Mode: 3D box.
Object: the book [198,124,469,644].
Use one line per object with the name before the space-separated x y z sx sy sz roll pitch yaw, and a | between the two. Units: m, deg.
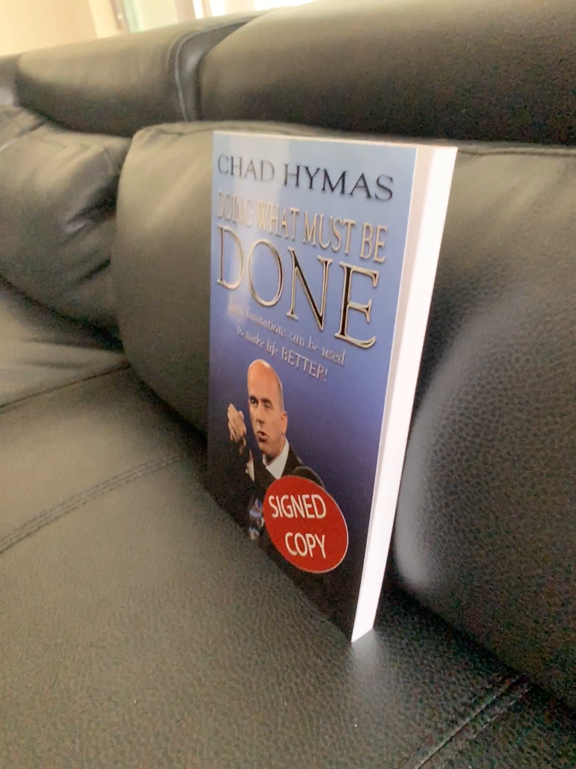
book | 0.003 -0.010 0.314 0.025 0.225 0.158 -9 26 -33
